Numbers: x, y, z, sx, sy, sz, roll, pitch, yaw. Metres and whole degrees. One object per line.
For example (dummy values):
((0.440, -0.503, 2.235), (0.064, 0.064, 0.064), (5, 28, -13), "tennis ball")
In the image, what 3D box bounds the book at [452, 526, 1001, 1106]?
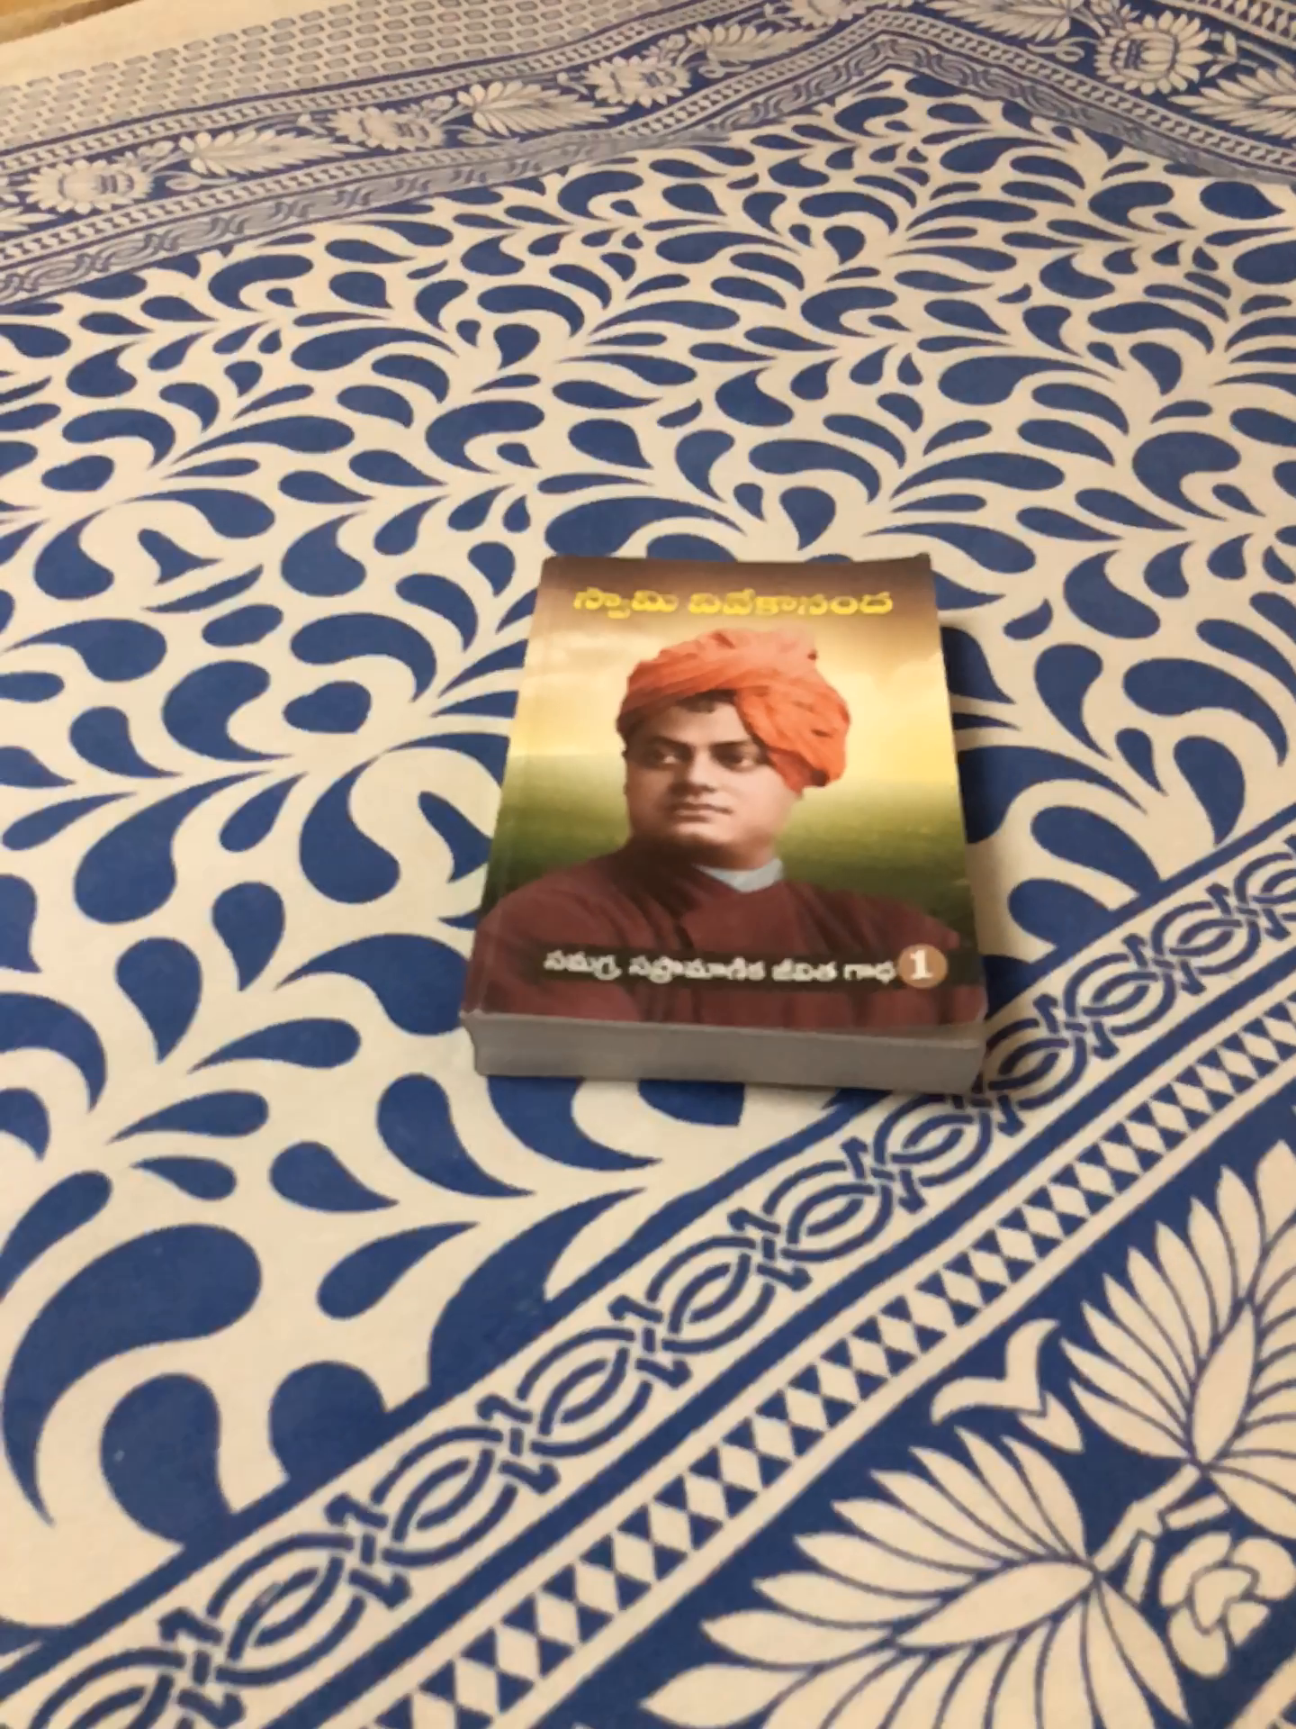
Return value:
((0.025, -0.027, 0.442), (0.140, 0.030, 0.211), (3, 49, 1), "book")
